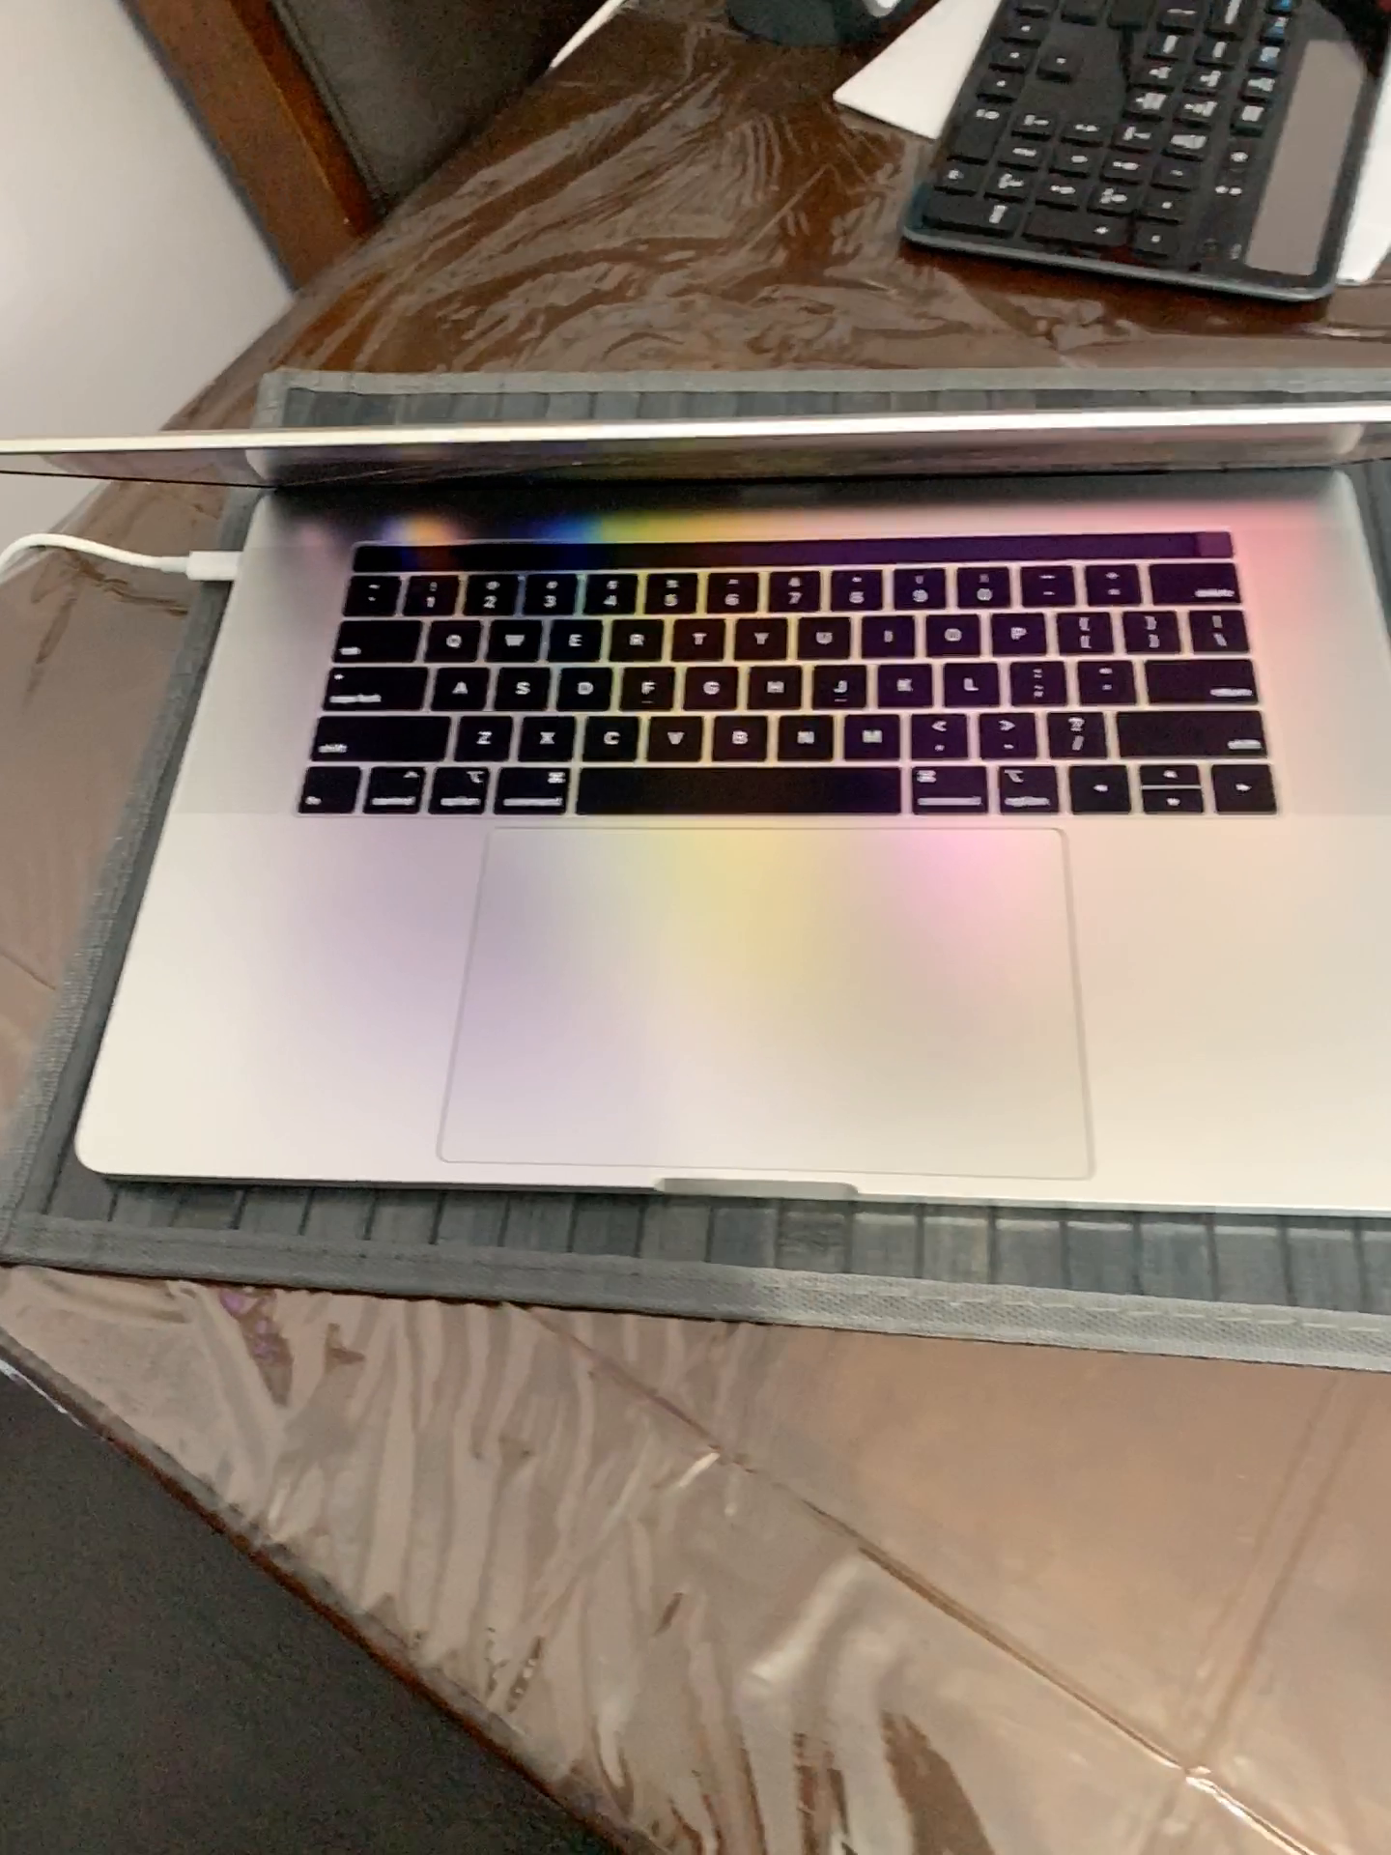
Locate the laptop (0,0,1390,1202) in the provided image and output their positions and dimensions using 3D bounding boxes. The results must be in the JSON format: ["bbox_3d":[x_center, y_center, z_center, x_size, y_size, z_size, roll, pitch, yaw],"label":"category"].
[{"bbox_3d":[0.015,-0.081,0.330,0.339,0.164,0.234,1,60,6],"label":"laptop"}]
